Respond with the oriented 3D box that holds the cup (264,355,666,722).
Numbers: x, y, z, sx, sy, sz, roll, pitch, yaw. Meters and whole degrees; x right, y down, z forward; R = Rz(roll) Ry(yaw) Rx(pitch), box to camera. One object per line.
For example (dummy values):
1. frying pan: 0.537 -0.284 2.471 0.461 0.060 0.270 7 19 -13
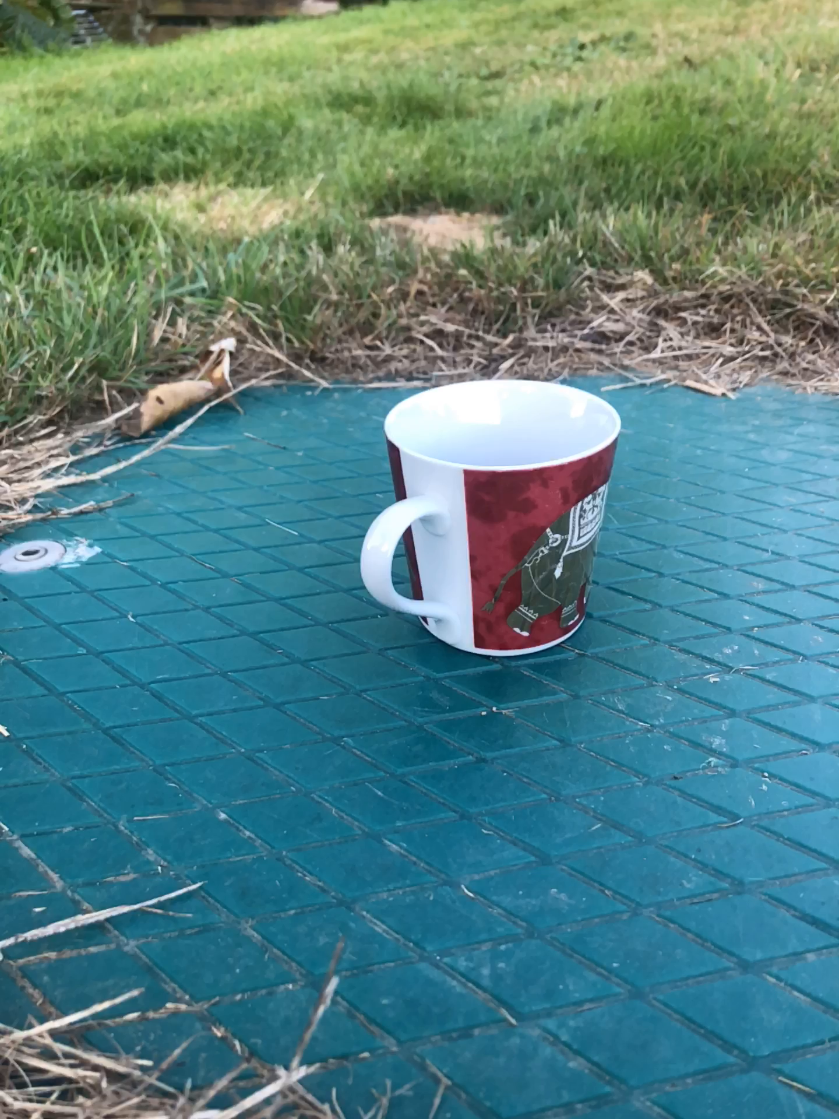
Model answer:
1. cup: 0.020 -0.016 0.320 0.082 0.070 0.110 20 36 35
